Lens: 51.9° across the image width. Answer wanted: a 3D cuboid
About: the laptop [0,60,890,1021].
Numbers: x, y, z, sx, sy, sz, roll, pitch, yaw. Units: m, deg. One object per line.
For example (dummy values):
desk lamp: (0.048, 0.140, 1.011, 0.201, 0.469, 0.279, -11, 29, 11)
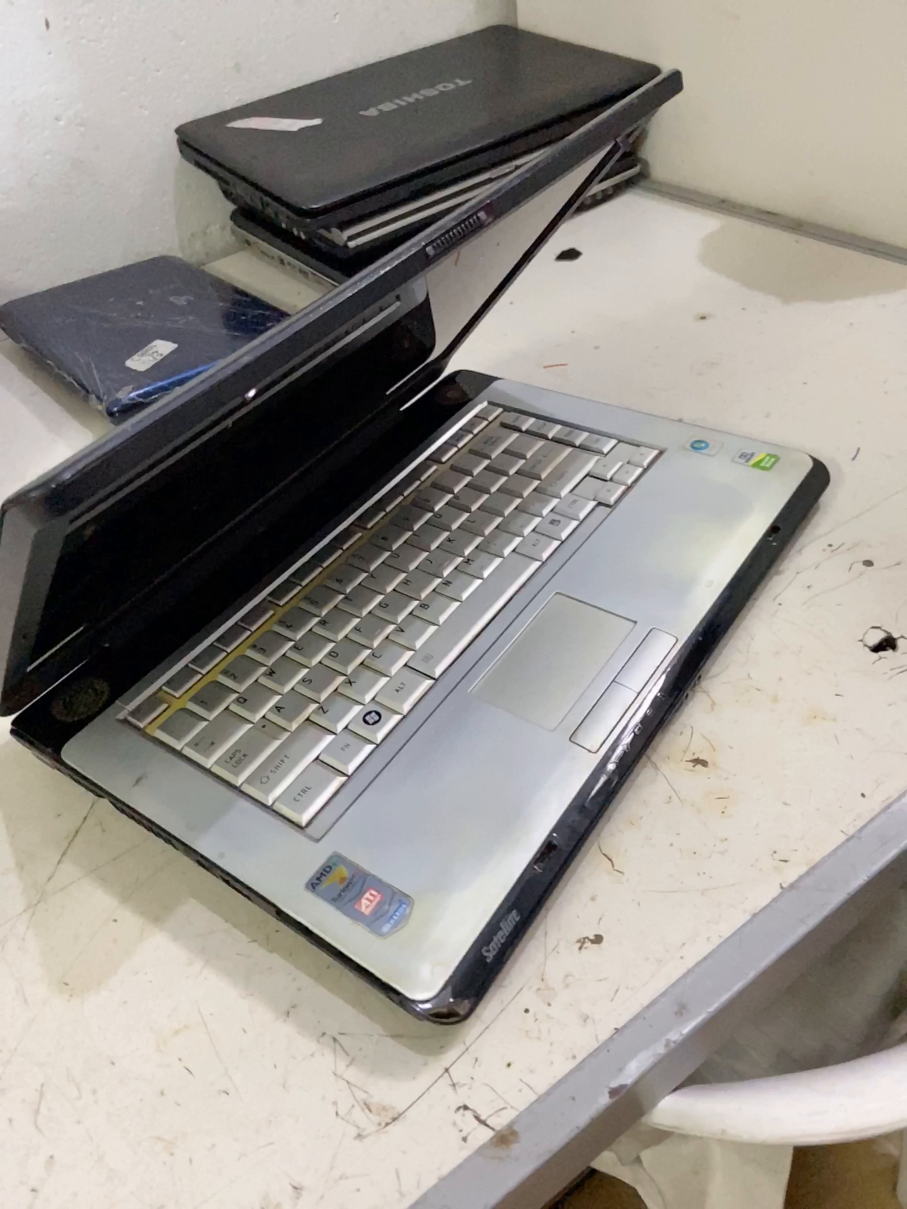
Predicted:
laptop: (-0.015, -0.079, 0.414, 0.257, 0.185, 0.357, 22, 52, 30)
